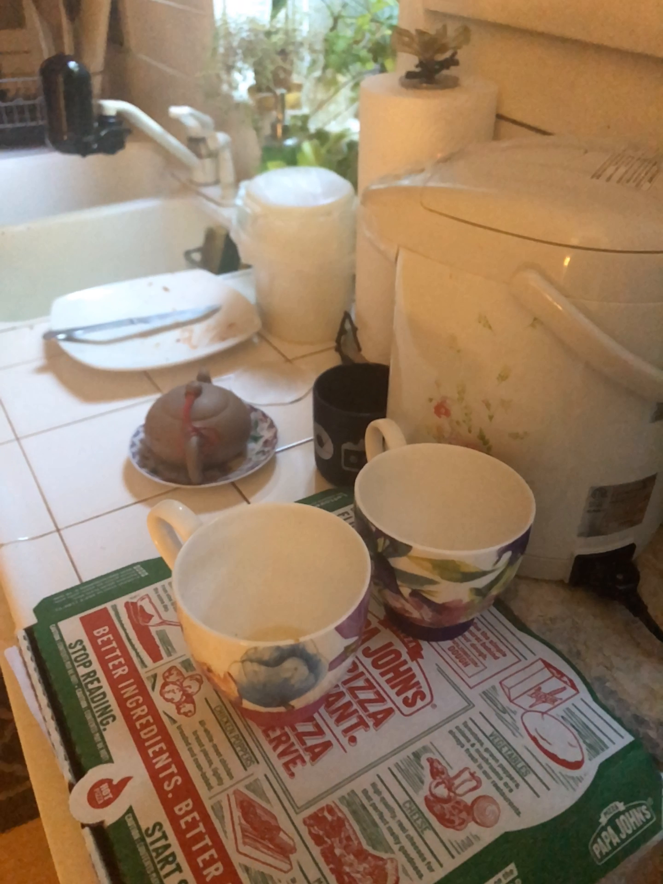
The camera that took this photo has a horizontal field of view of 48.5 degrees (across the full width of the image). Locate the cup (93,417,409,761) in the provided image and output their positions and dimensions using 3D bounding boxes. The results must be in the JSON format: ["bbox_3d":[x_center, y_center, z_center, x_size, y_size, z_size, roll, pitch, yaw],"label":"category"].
[{"bbox_3d":[-0.049,0.071,0.421,0.101,0.079,0.161,-24,42,-29],"label":"cup"}]

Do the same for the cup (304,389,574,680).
[{"bbox_3d":[0.058,0.049,0.475,0.100,0.079,0.161,-13,38,-18],"label":"cup"}]

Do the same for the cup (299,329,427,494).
[{"bbox_3d":[0.023,-0.032,0.675,0.090,0.079,0.141,-5,36,-7],"label":"cup"}]
